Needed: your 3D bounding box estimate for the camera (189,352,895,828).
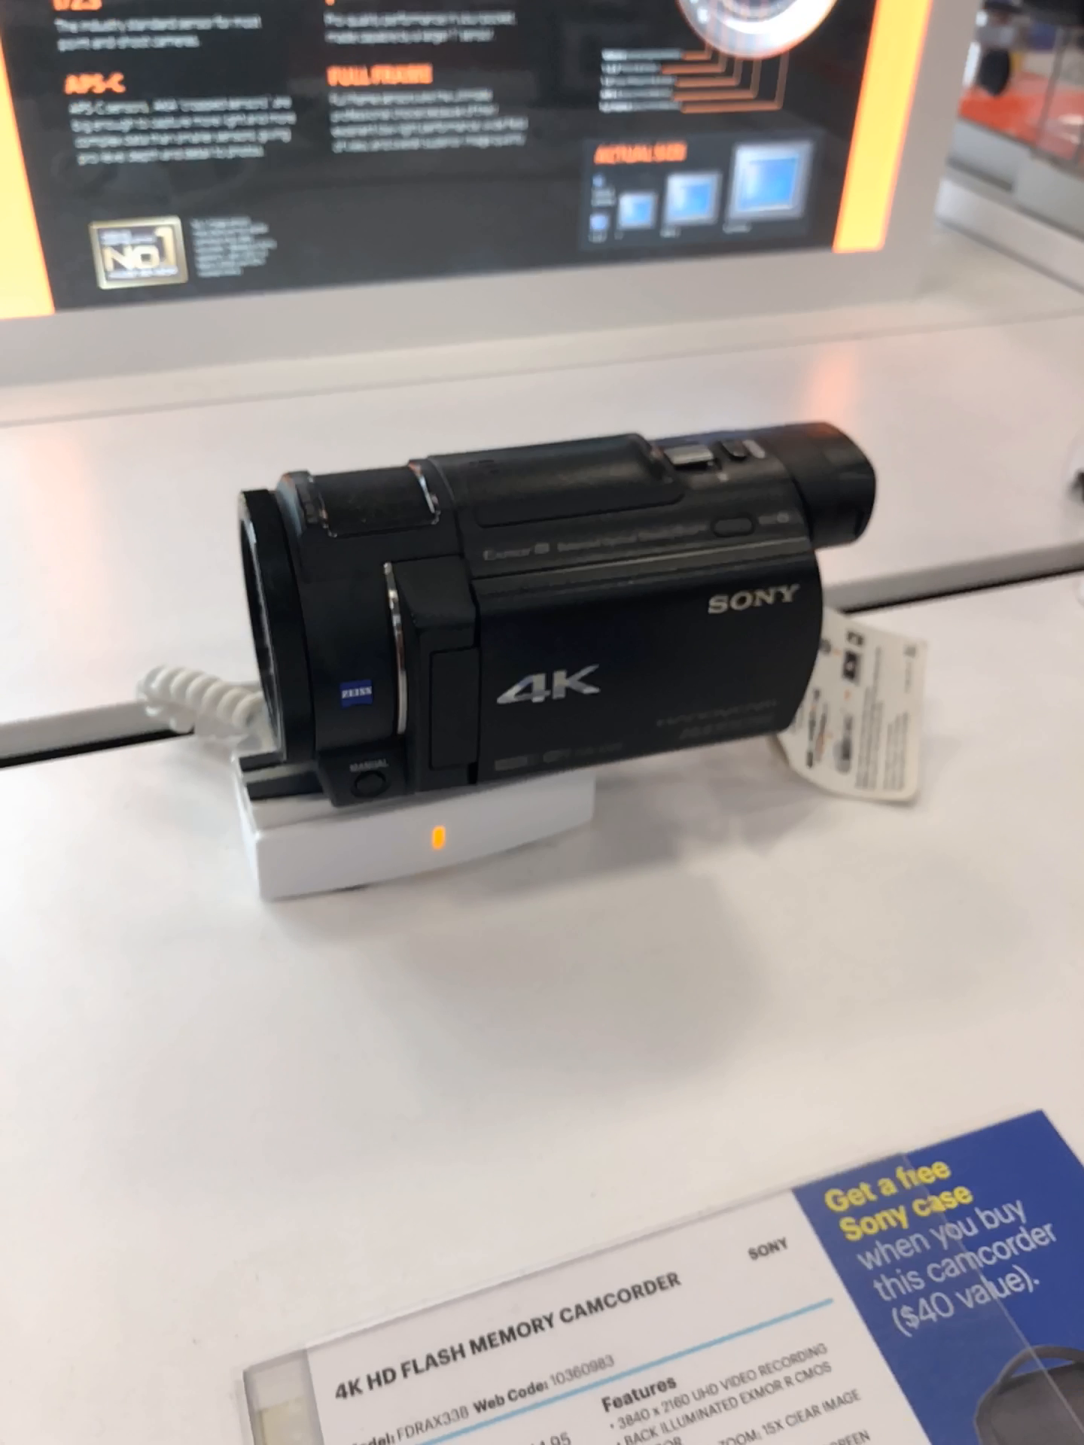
[{"bbox_3d":[-0.004,-0.039,0.311,0.150,0.070,0.080,-10,40,-16],"label":"camera"}]
